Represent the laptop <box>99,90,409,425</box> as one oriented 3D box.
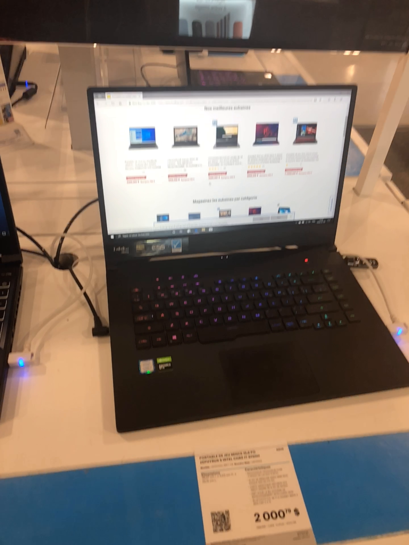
[{"bbox_3d":[0.060,-0.044,0.525,0.340,0.207,0.316,-5,44,-10],"label":"laptop"}]
